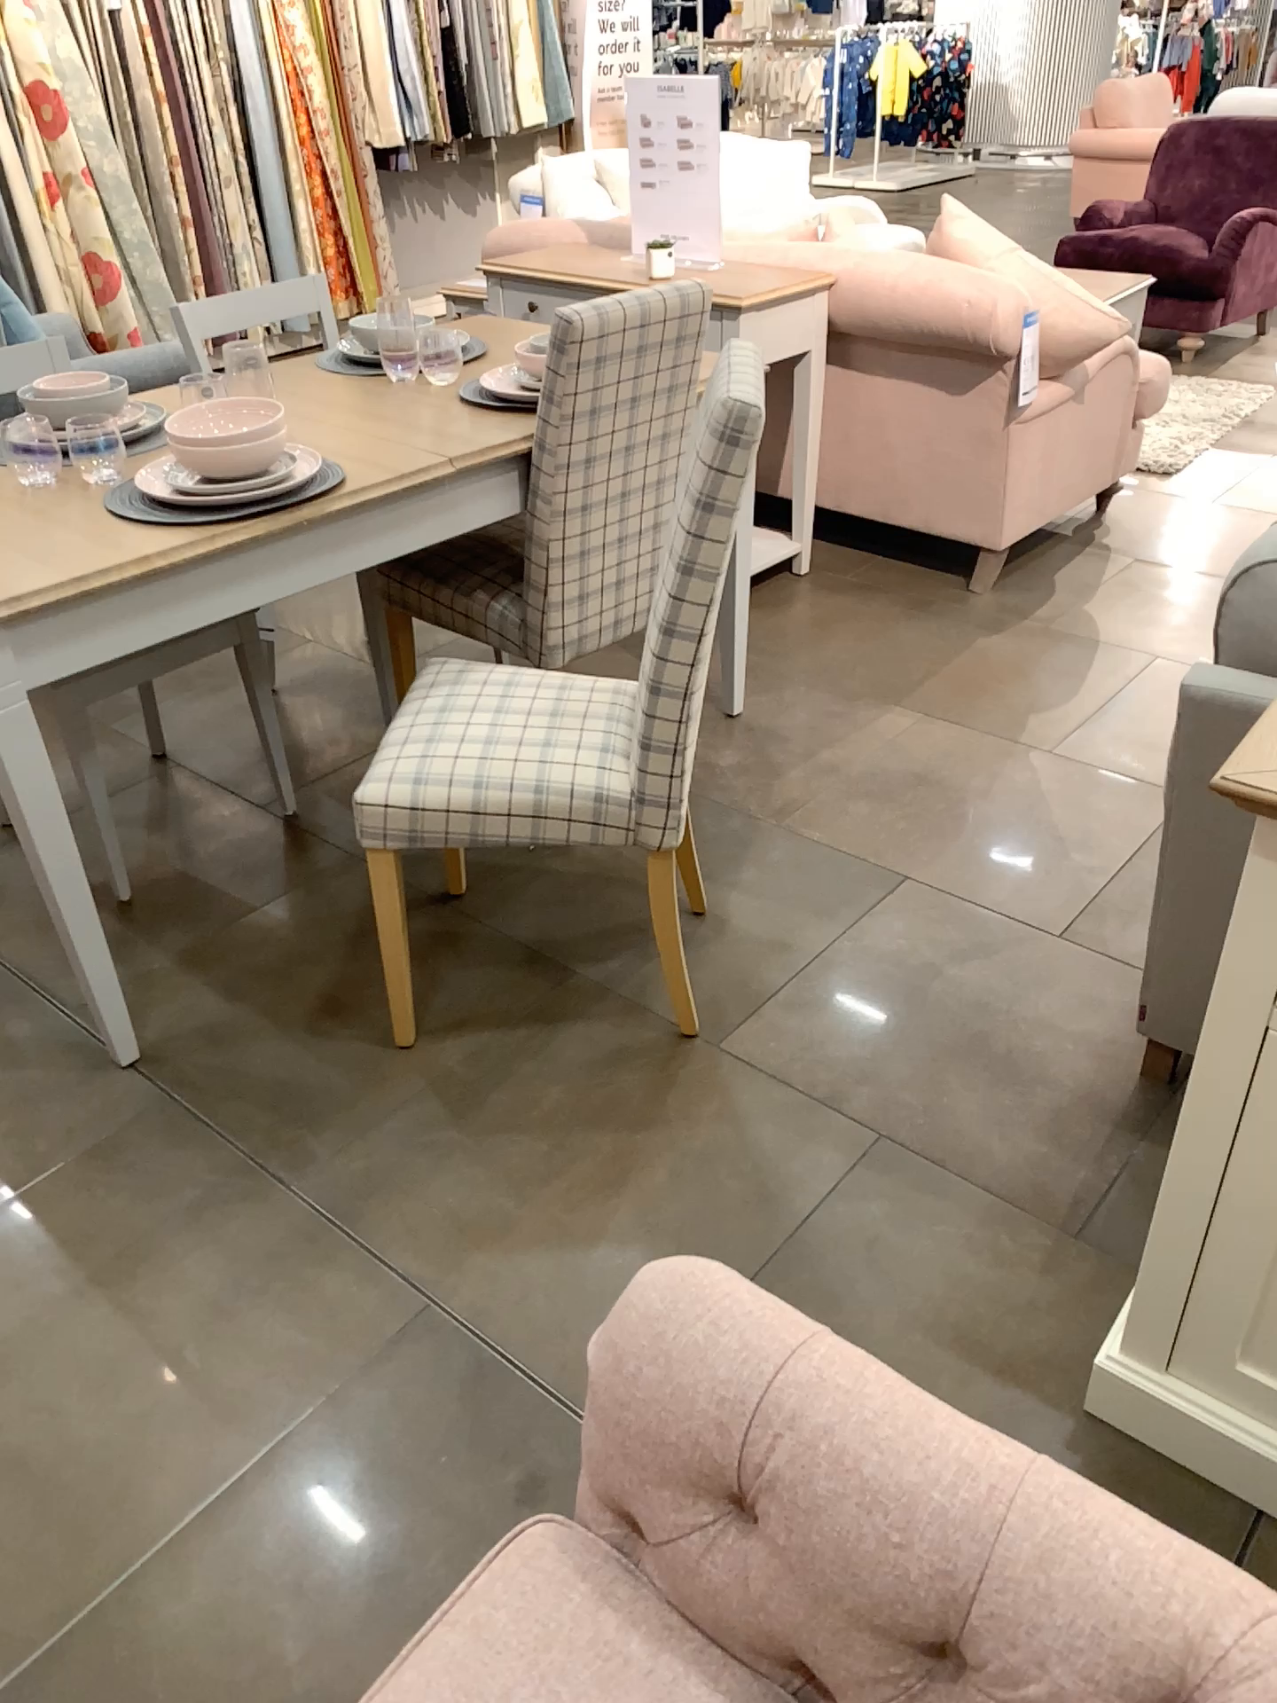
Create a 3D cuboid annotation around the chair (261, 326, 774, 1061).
[{"bbox_3d":[-0.114,-0.204,1.850,0.566,0.938,0.432,0,32,3],"label":"chair"}]
